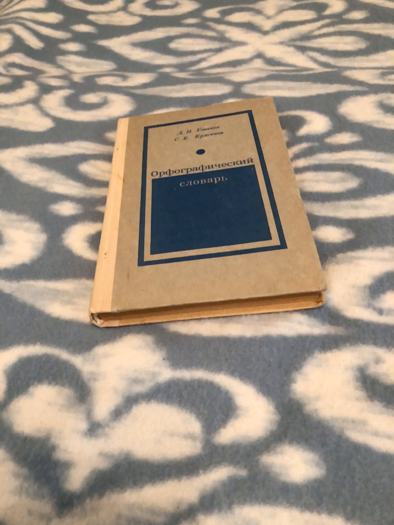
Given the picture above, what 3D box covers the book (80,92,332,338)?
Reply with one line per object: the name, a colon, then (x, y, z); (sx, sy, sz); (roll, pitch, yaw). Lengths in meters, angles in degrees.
book: (0.001, -0.050, 0.312); (0.136, 0.022, 0.211); (-6, 48, 5)
